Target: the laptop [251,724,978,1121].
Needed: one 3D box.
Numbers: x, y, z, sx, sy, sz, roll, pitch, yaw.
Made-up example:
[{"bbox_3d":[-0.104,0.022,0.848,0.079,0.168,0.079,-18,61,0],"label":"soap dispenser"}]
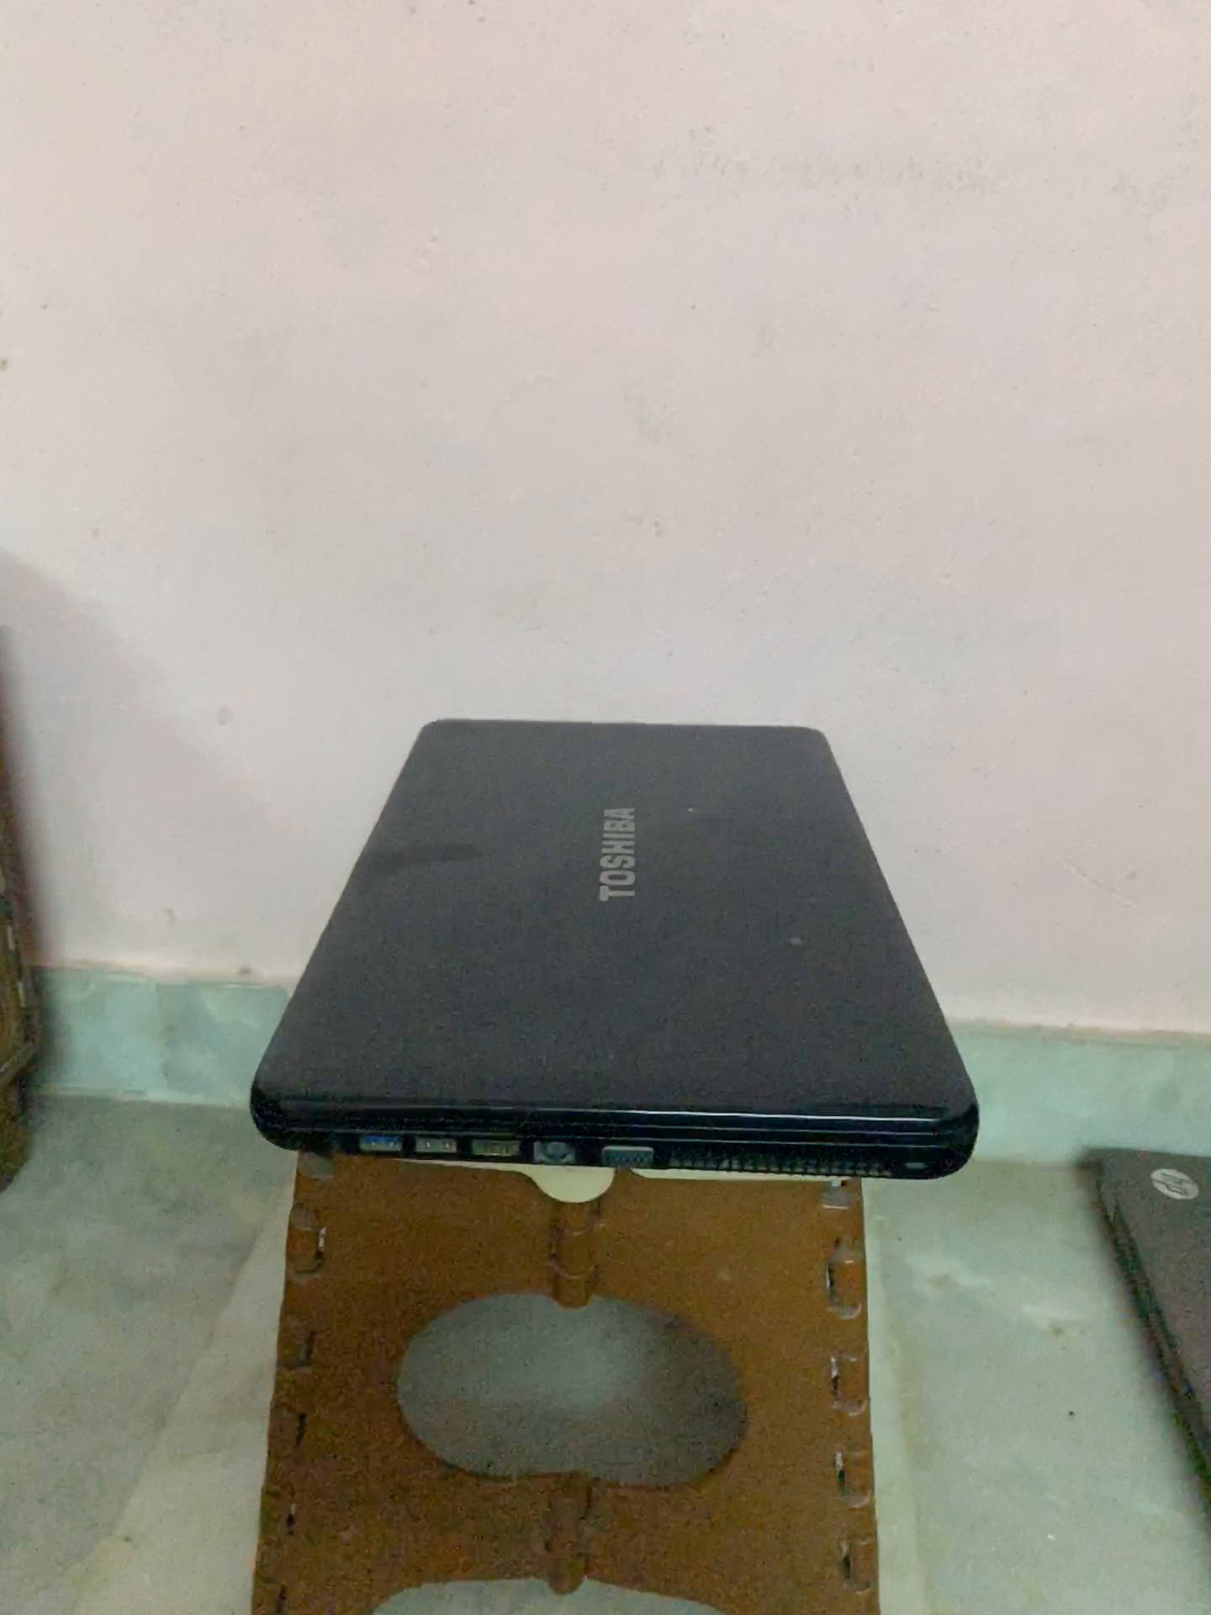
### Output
[{"bbox_3d":[0.006,0.025,0.574,0.236,0.001,0.370,2,23,1],"label":"laptop"}]
